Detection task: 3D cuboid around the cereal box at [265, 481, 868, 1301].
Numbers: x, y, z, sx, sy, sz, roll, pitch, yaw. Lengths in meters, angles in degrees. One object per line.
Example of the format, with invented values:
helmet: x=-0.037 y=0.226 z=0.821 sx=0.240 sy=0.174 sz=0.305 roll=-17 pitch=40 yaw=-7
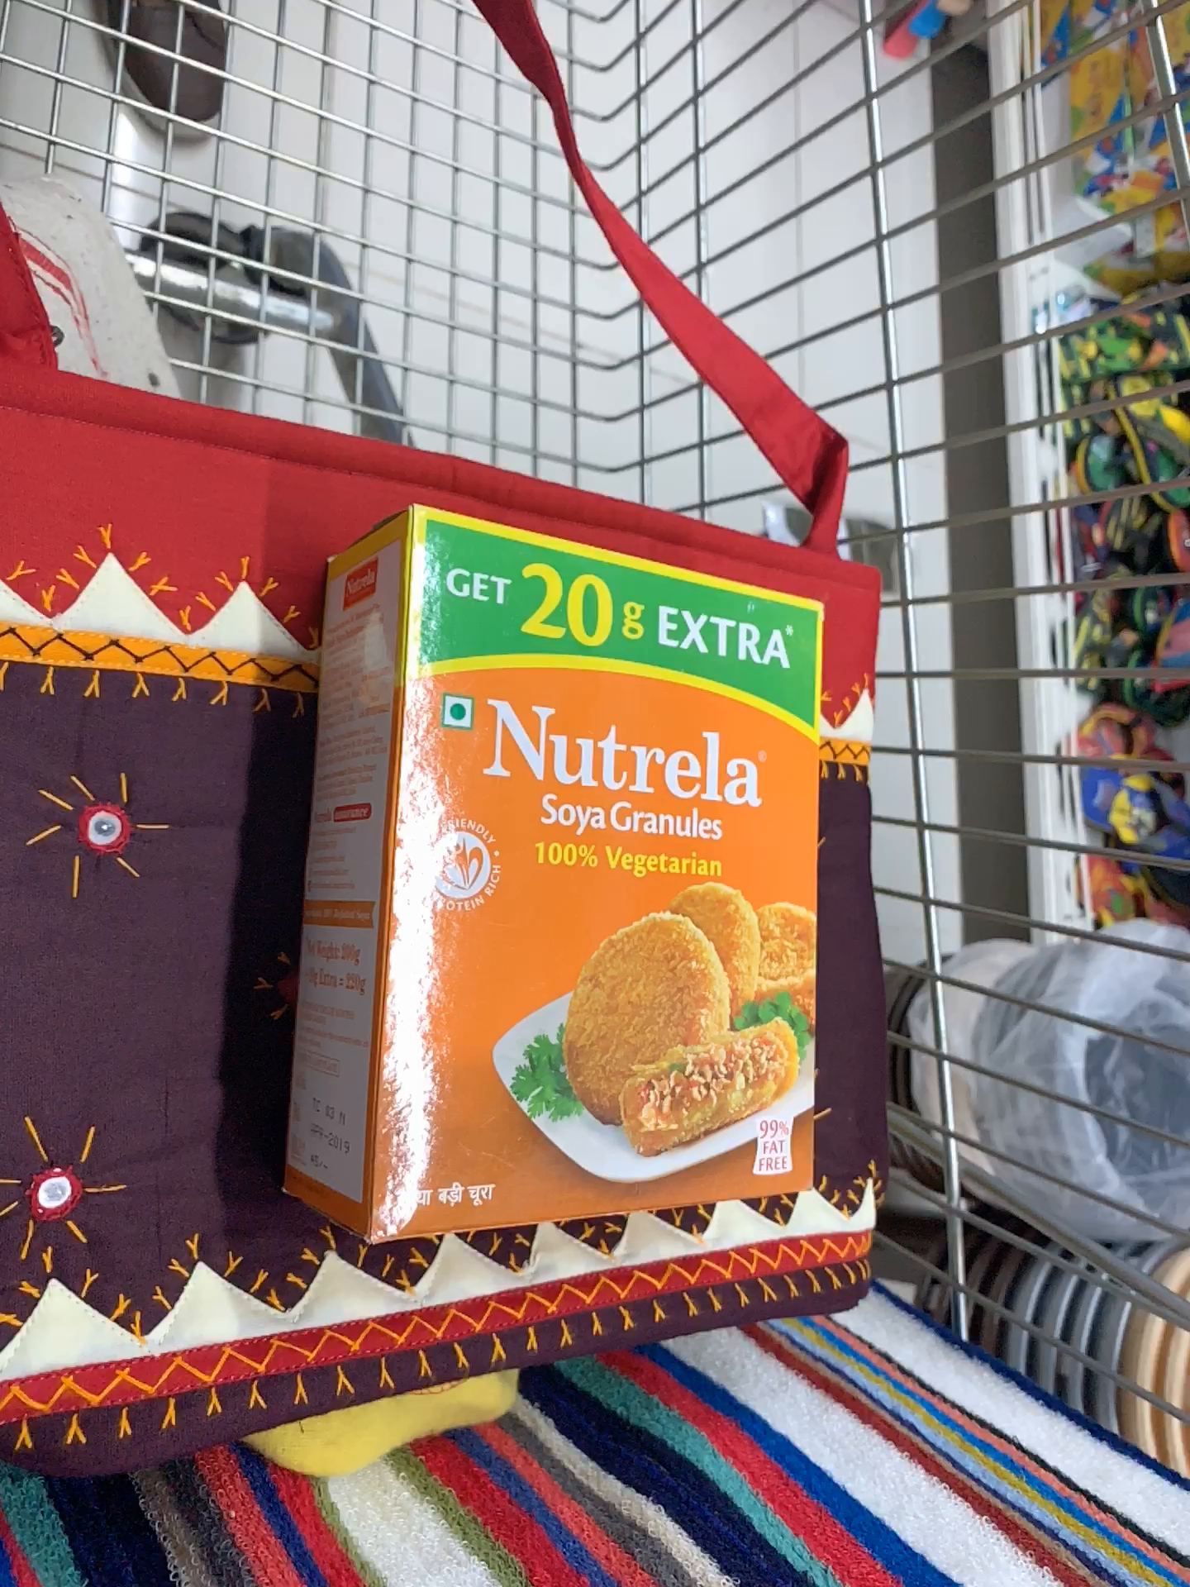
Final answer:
cereal box: x=-0.003 y=0.023 z=0.282 sx=0.120 sy=0.060 sz=0.150 roll=6 pitch=81 yaw=-32
